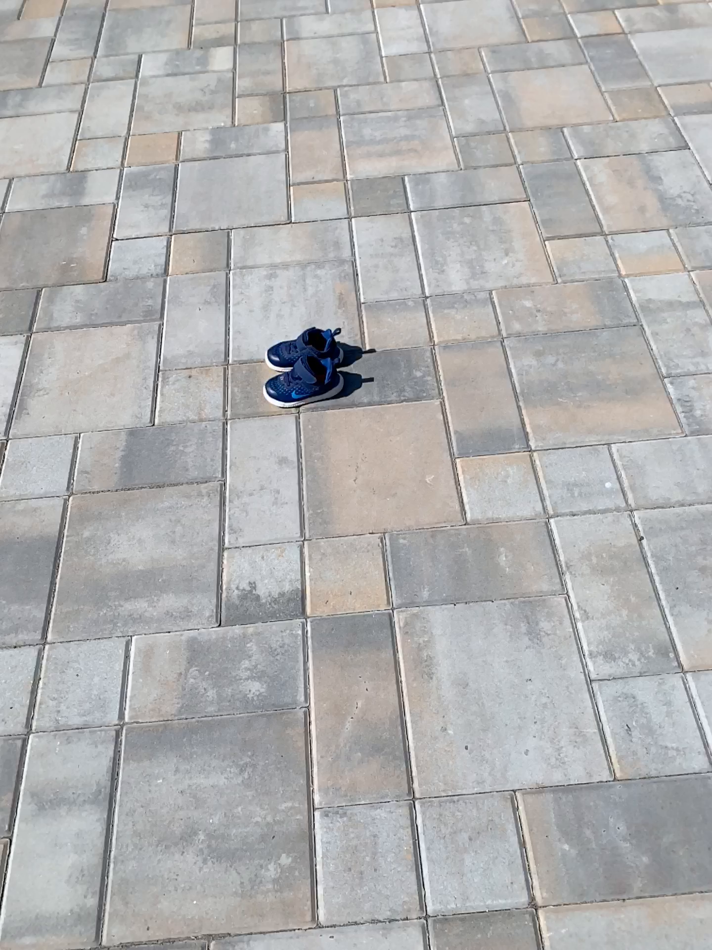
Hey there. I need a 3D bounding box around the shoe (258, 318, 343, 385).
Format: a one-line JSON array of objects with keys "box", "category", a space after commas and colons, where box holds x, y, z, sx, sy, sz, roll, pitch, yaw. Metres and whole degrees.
[{"box": [-0.117, -0.262, 1.550, 0.170, 0.090, 0.090, -4, 56, 0], "category": "shoe"}]

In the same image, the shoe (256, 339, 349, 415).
[{"box": [-0.108, -0.199, 1.479, 0.170, 0.090, 0.090, -10, 56, -3], "category": "shoe"}]
